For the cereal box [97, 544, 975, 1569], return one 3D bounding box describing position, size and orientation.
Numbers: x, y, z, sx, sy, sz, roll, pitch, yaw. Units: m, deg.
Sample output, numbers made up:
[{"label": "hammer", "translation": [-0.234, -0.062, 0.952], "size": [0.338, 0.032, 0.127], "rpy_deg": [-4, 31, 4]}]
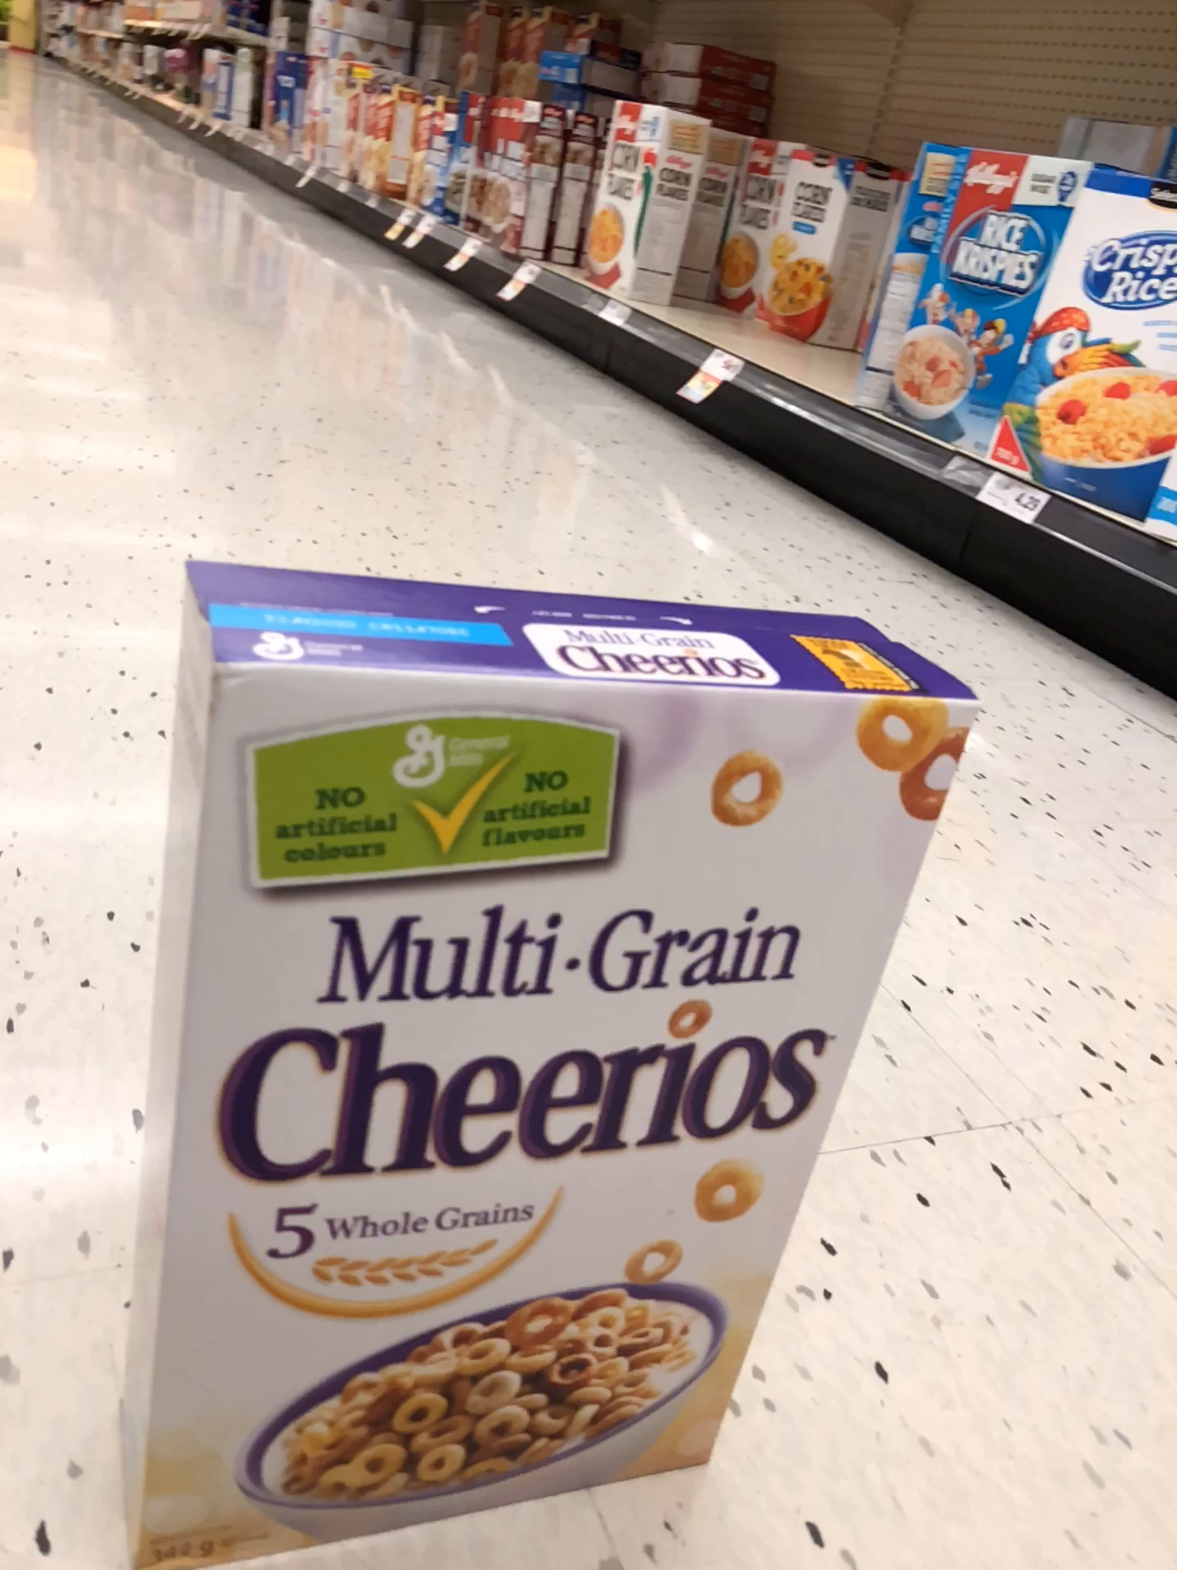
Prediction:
[{"label": "cereal box", "translation": [-0.032, 0.097, 0.374], "size": [0.190, 0.308, 0.060], "rpy_deg": [1, 27, -24]}]
